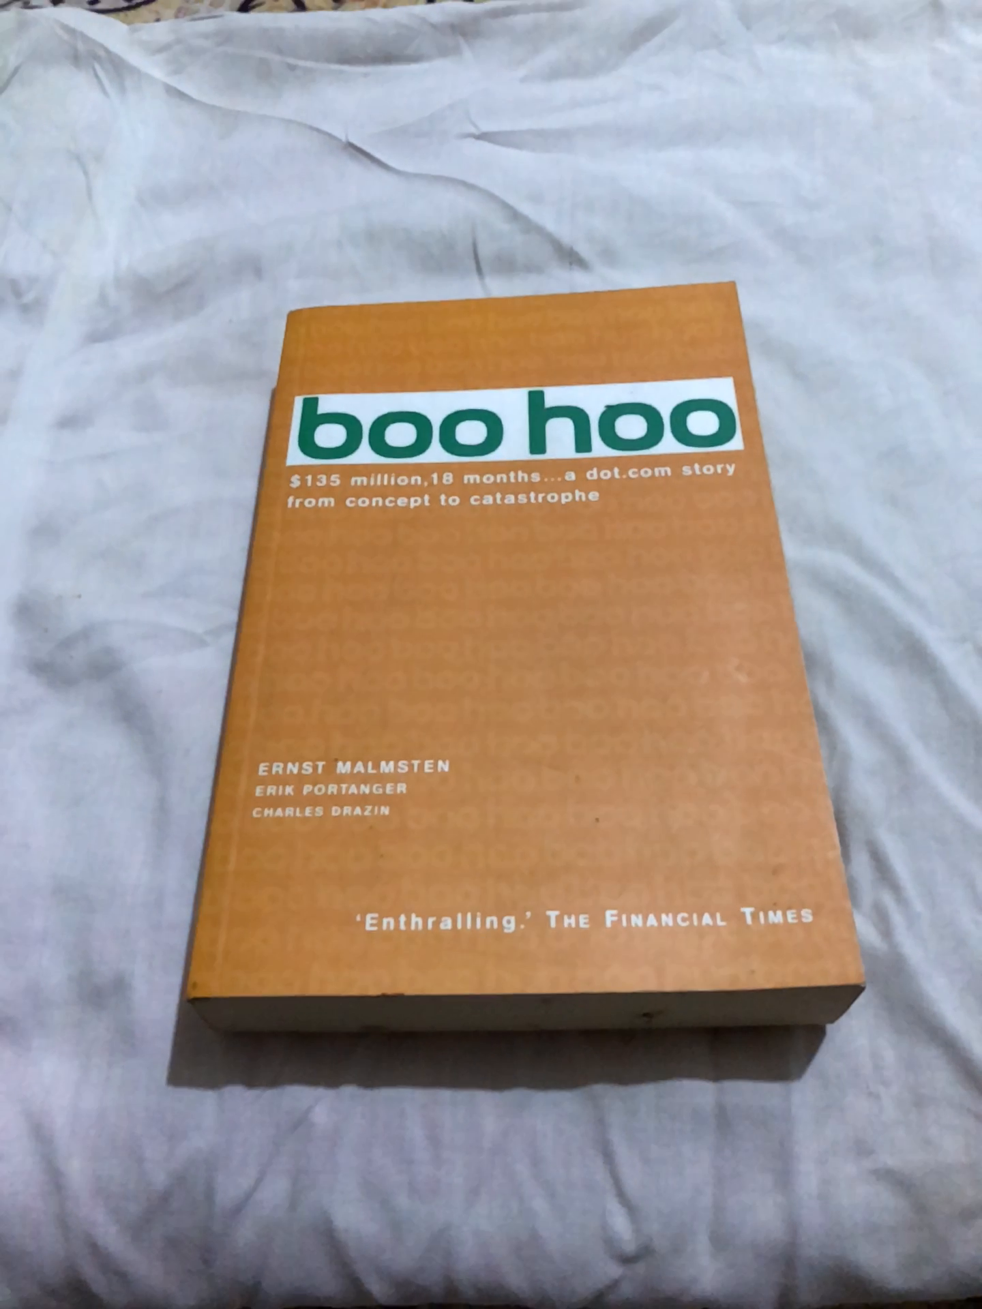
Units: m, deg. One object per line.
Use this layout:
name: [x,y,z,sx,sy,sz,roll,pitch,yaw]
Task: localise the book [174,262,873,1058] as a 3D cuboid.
book: [0.006,-0.010,0.274,0.130,0.040,0.200,-3,58,4]
